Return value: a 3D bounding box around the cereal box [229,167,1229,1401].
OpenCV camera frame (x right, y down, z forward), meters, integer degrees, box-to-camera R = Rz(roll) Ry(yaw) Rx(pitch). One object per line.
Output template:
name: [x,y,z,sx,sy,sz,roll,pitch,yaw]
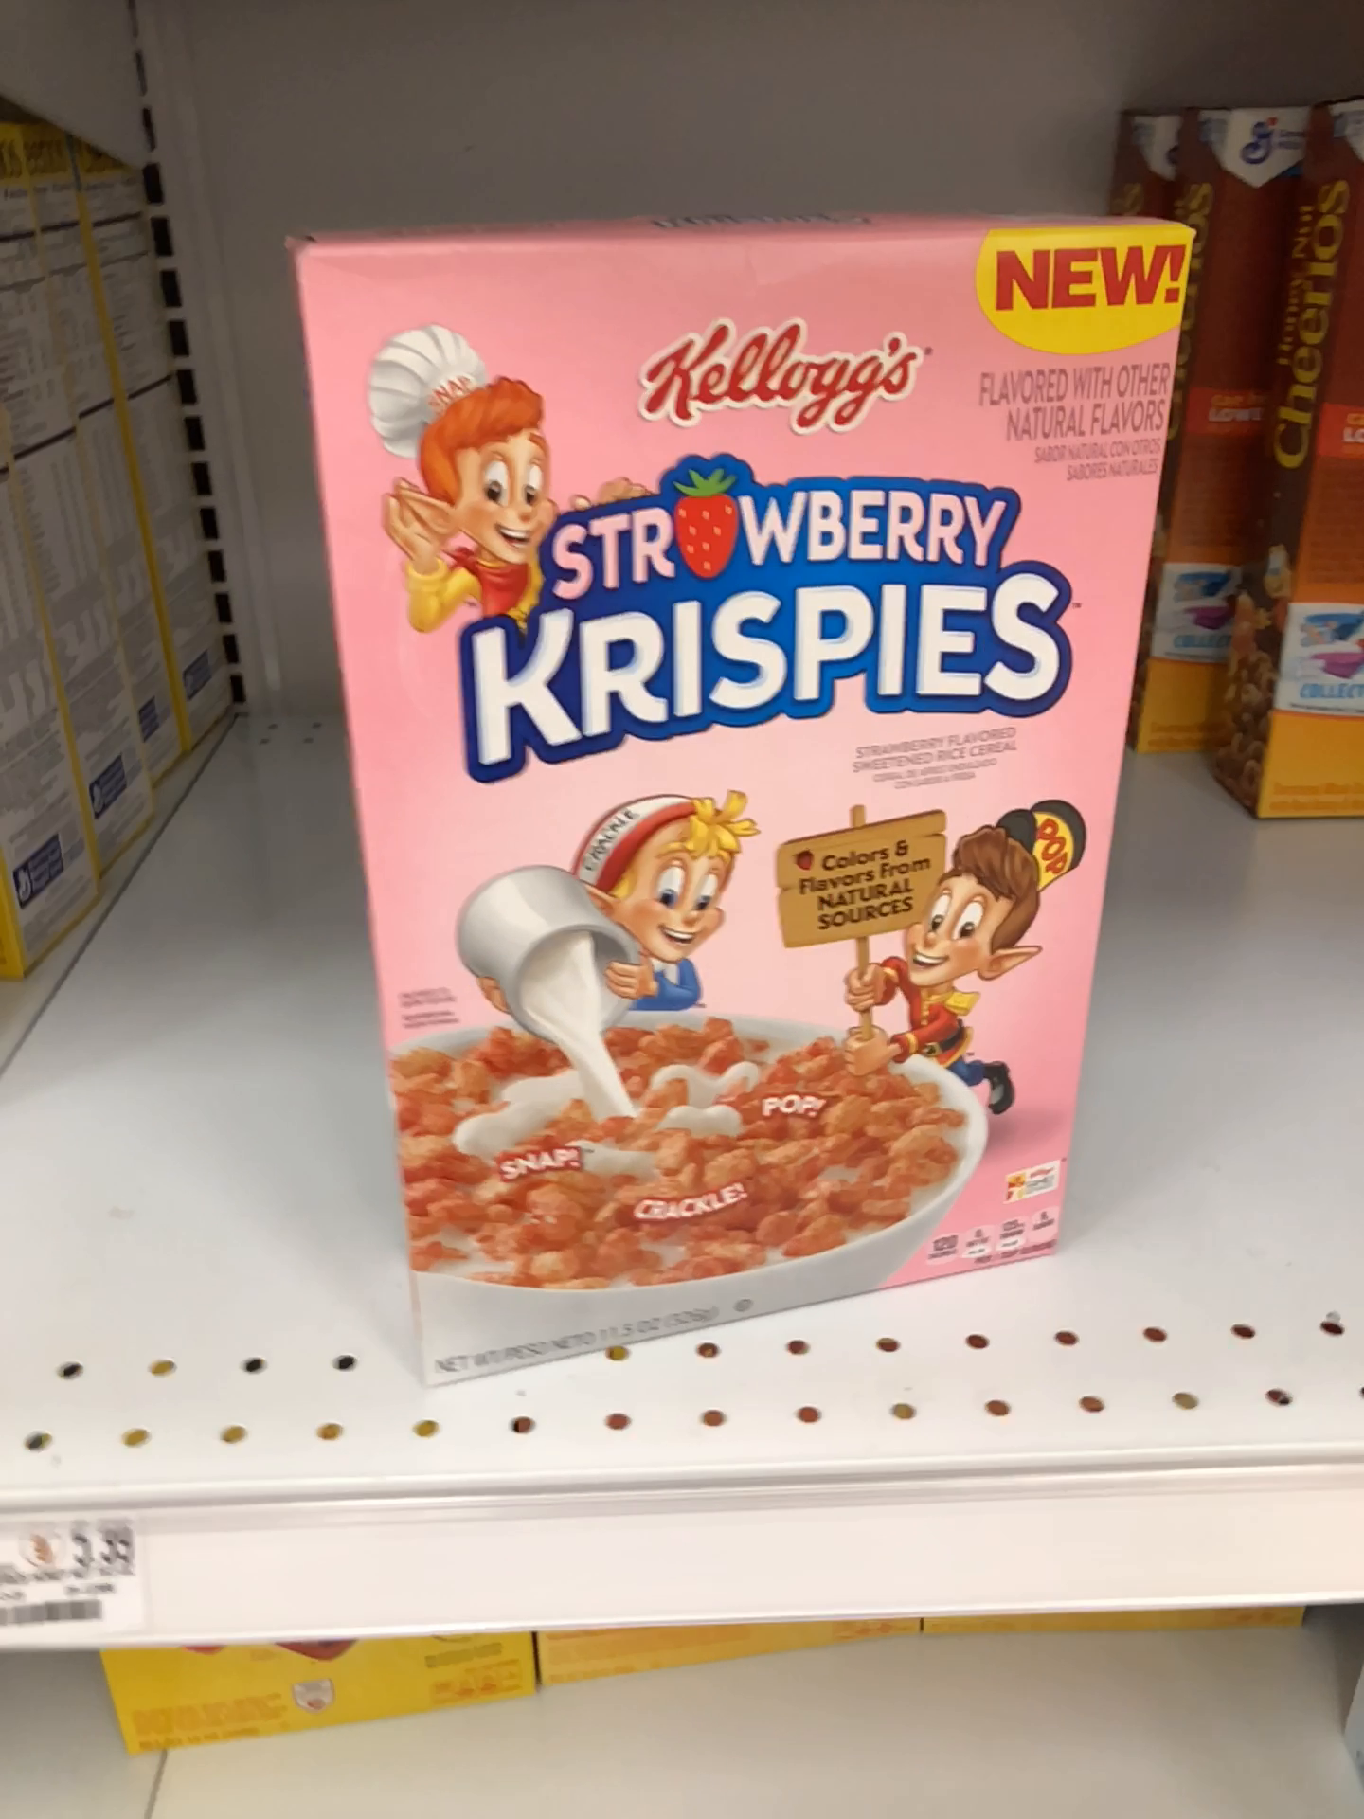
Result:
cereal box: [0.010,-0.026,0.390,0.200,0.289,0.070,-9,30,-14]
